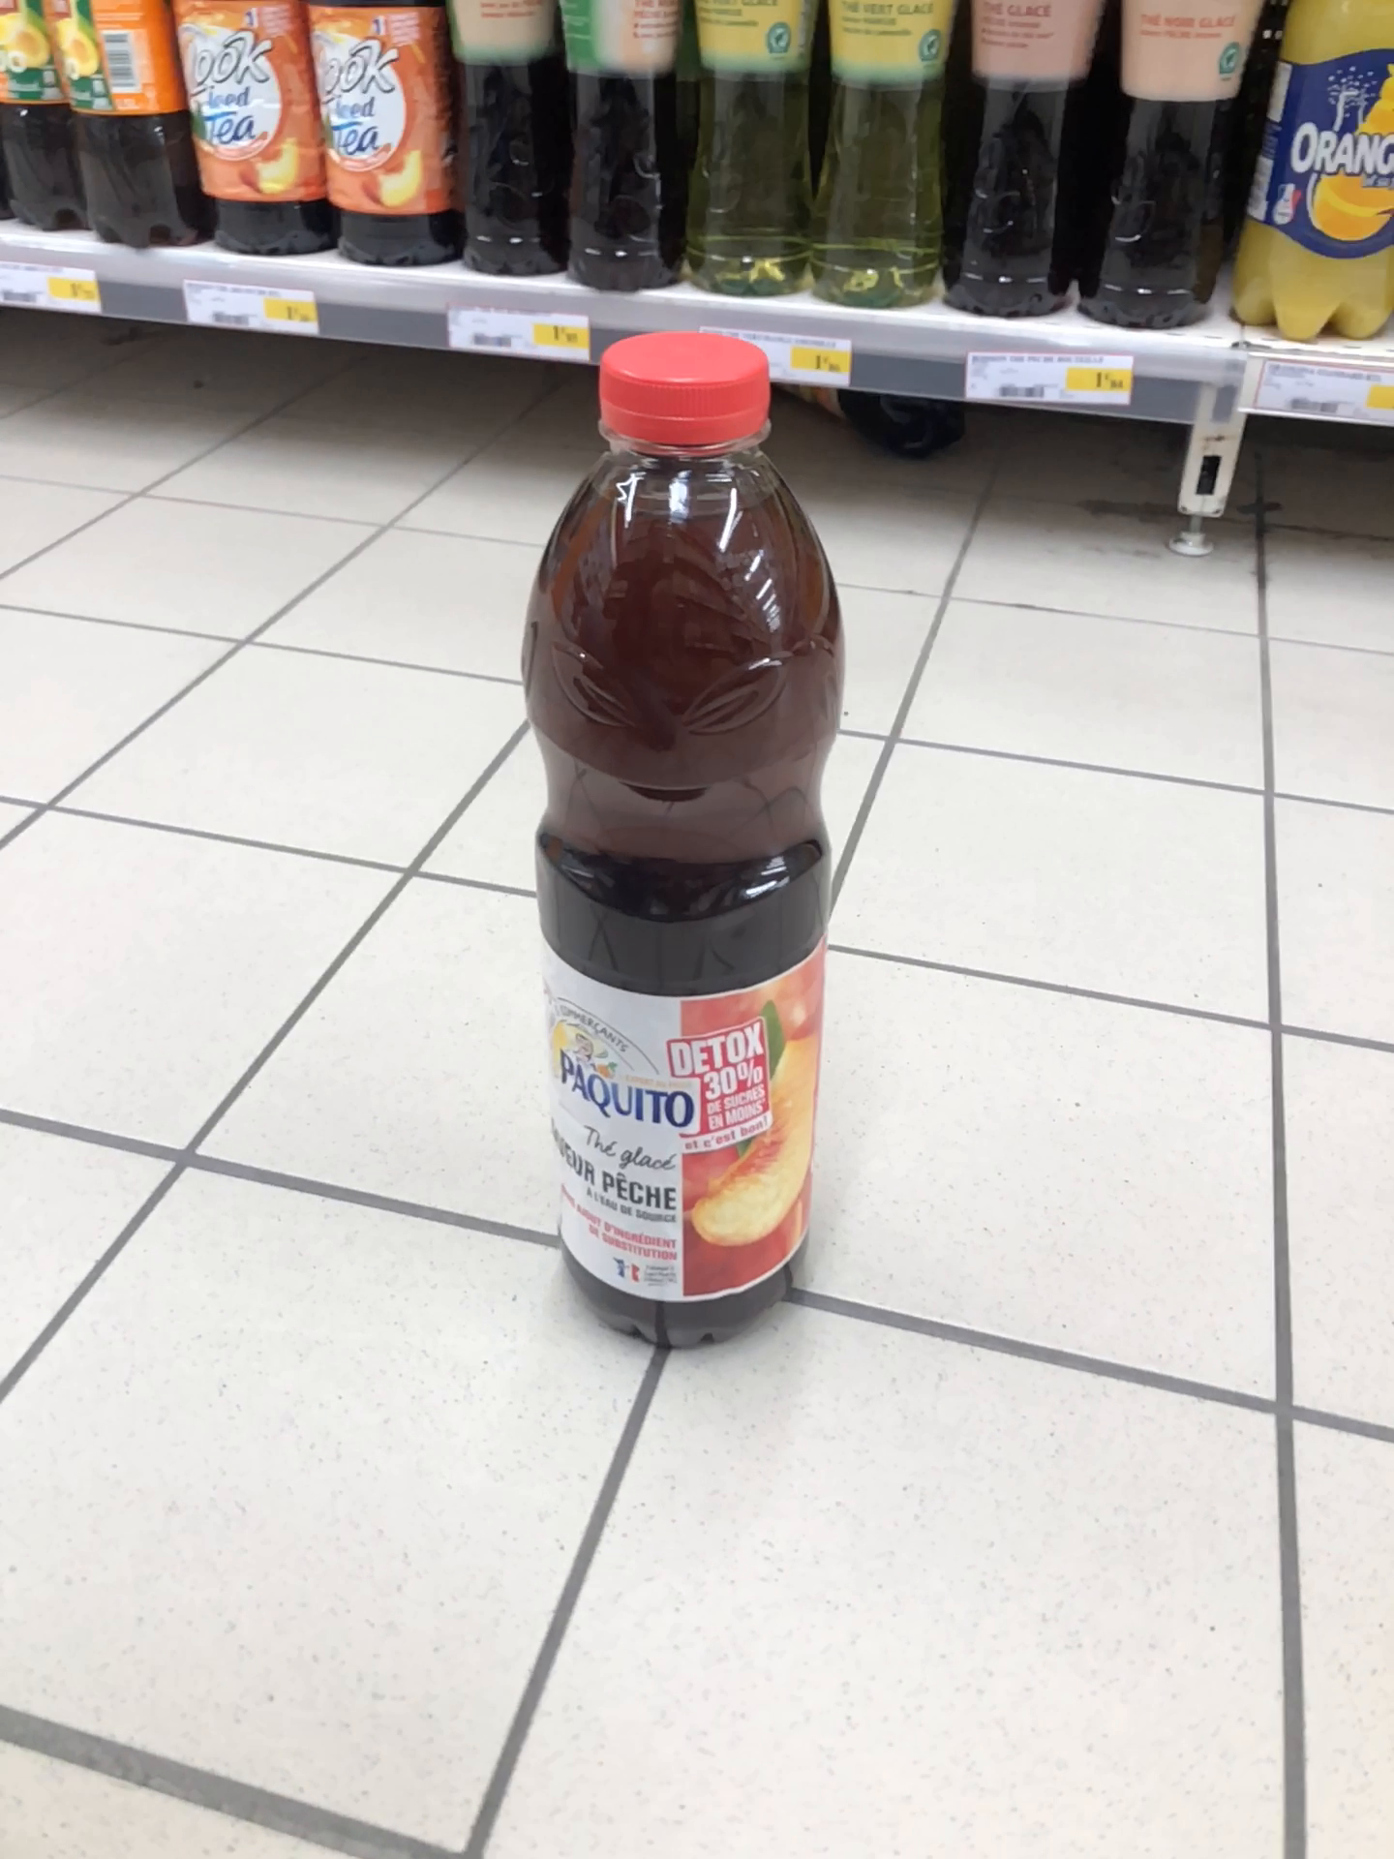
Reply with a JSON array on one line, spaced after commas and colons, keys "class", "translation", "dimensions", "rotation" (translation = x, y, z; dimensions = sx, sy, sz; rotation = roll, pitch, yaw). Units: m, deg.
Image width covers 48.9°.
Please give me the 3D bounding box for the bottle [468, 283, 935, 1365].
[{"class": "bottle", "translation": [0.003, -0.016, 0.431], "dimensions": [0.090, 0.288, 0.091], "rotation": [1, 35, -1]}]
